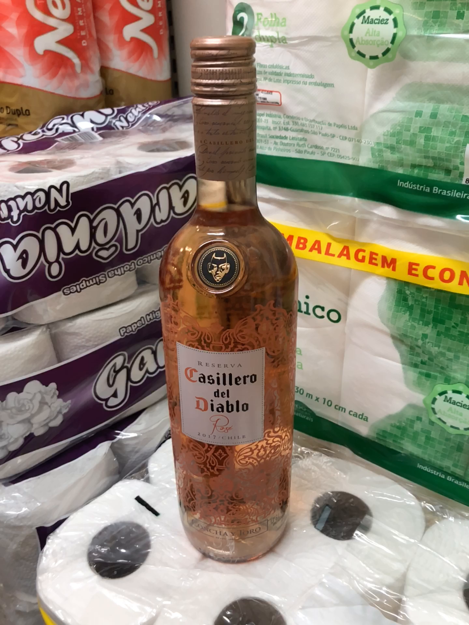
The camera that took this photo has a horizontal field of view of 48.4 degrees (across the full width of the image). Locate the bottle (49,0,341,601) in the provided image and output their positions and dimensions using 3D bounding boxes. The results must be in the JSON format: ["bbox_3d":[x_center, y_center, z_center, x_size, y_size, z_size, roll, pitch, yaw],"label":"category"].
[{"bbox_3d":[-0.003,0.008,0.274,0.090,0.308,0.081,6,30,16],"label":"bottle"}]
